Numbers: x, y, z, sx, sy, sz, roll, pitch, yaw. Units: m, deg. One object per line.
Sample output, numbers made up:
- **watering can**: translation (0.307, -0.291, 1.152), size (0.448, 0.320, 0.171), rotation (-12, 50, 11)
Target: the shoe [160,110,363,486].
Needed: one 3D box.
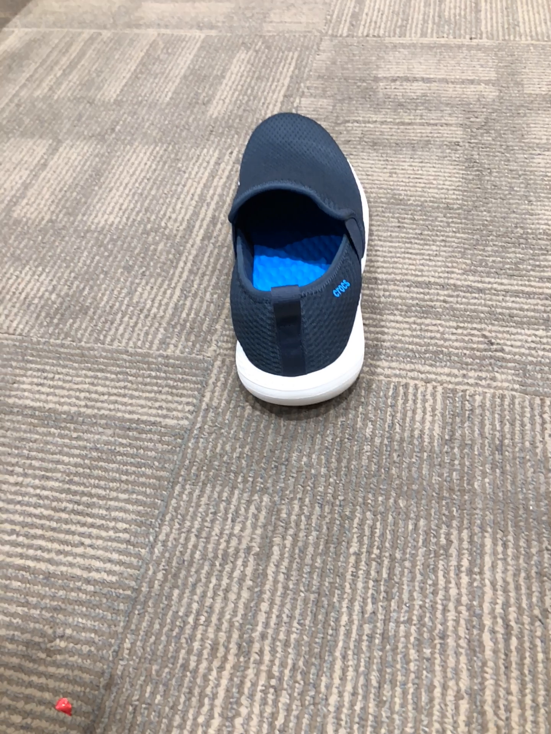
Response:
- **shoe**: translation (0.005, -0.063, 0.458), size (0.110, 0.119, 0.272), rotation (1, 53, 5)
